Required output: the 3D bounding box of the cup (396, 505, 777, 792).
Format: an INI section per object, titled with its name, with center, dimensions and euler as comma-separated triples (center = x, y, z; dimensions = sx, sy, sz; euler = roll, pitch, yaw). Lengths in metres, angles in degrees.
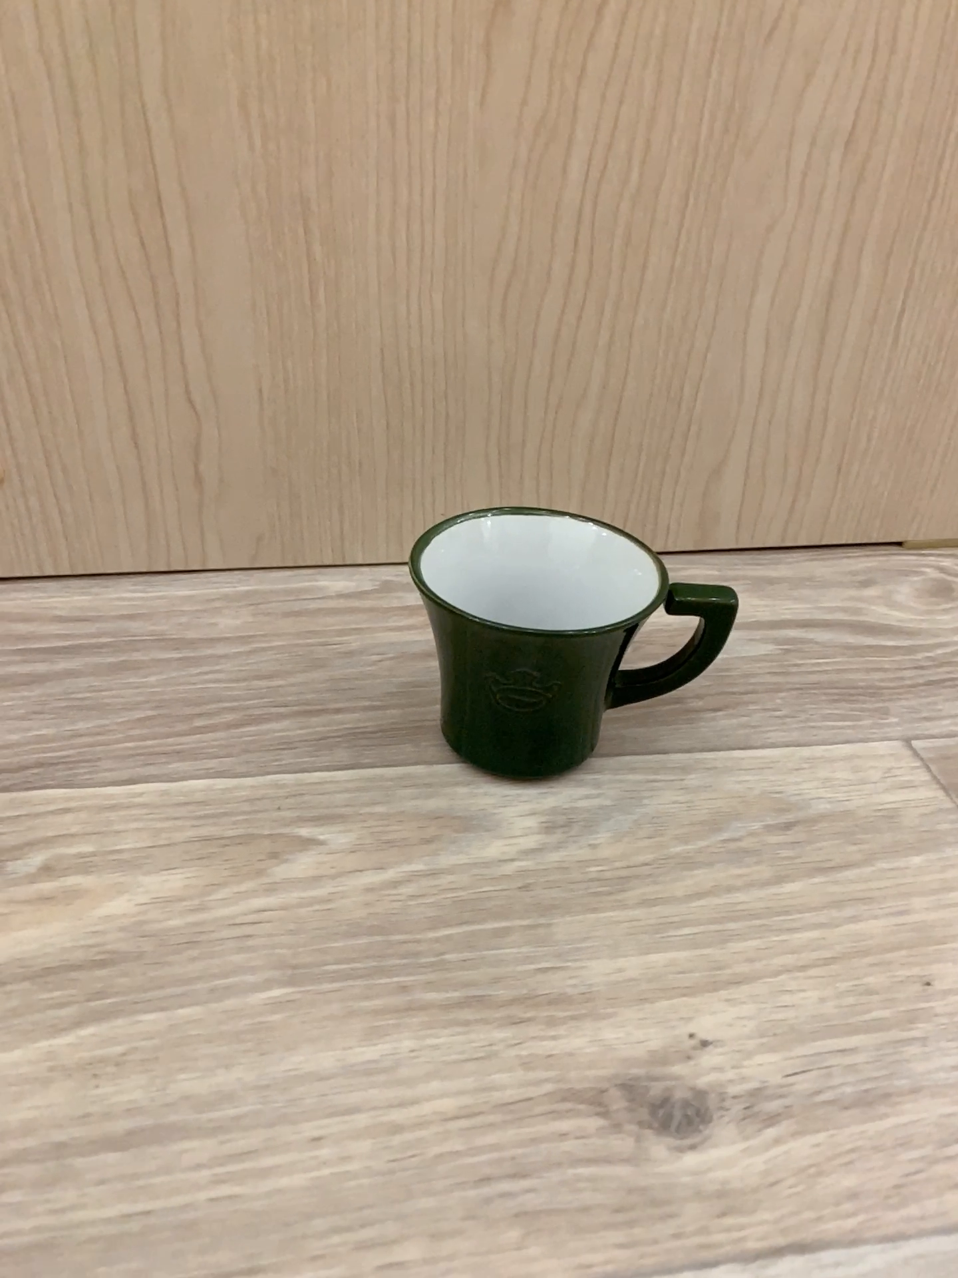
[cup]
center = 0.027, 0.000, 0.326
dimensions = 0.106, 0.061, 0.075
euler = -1, 33, -7
